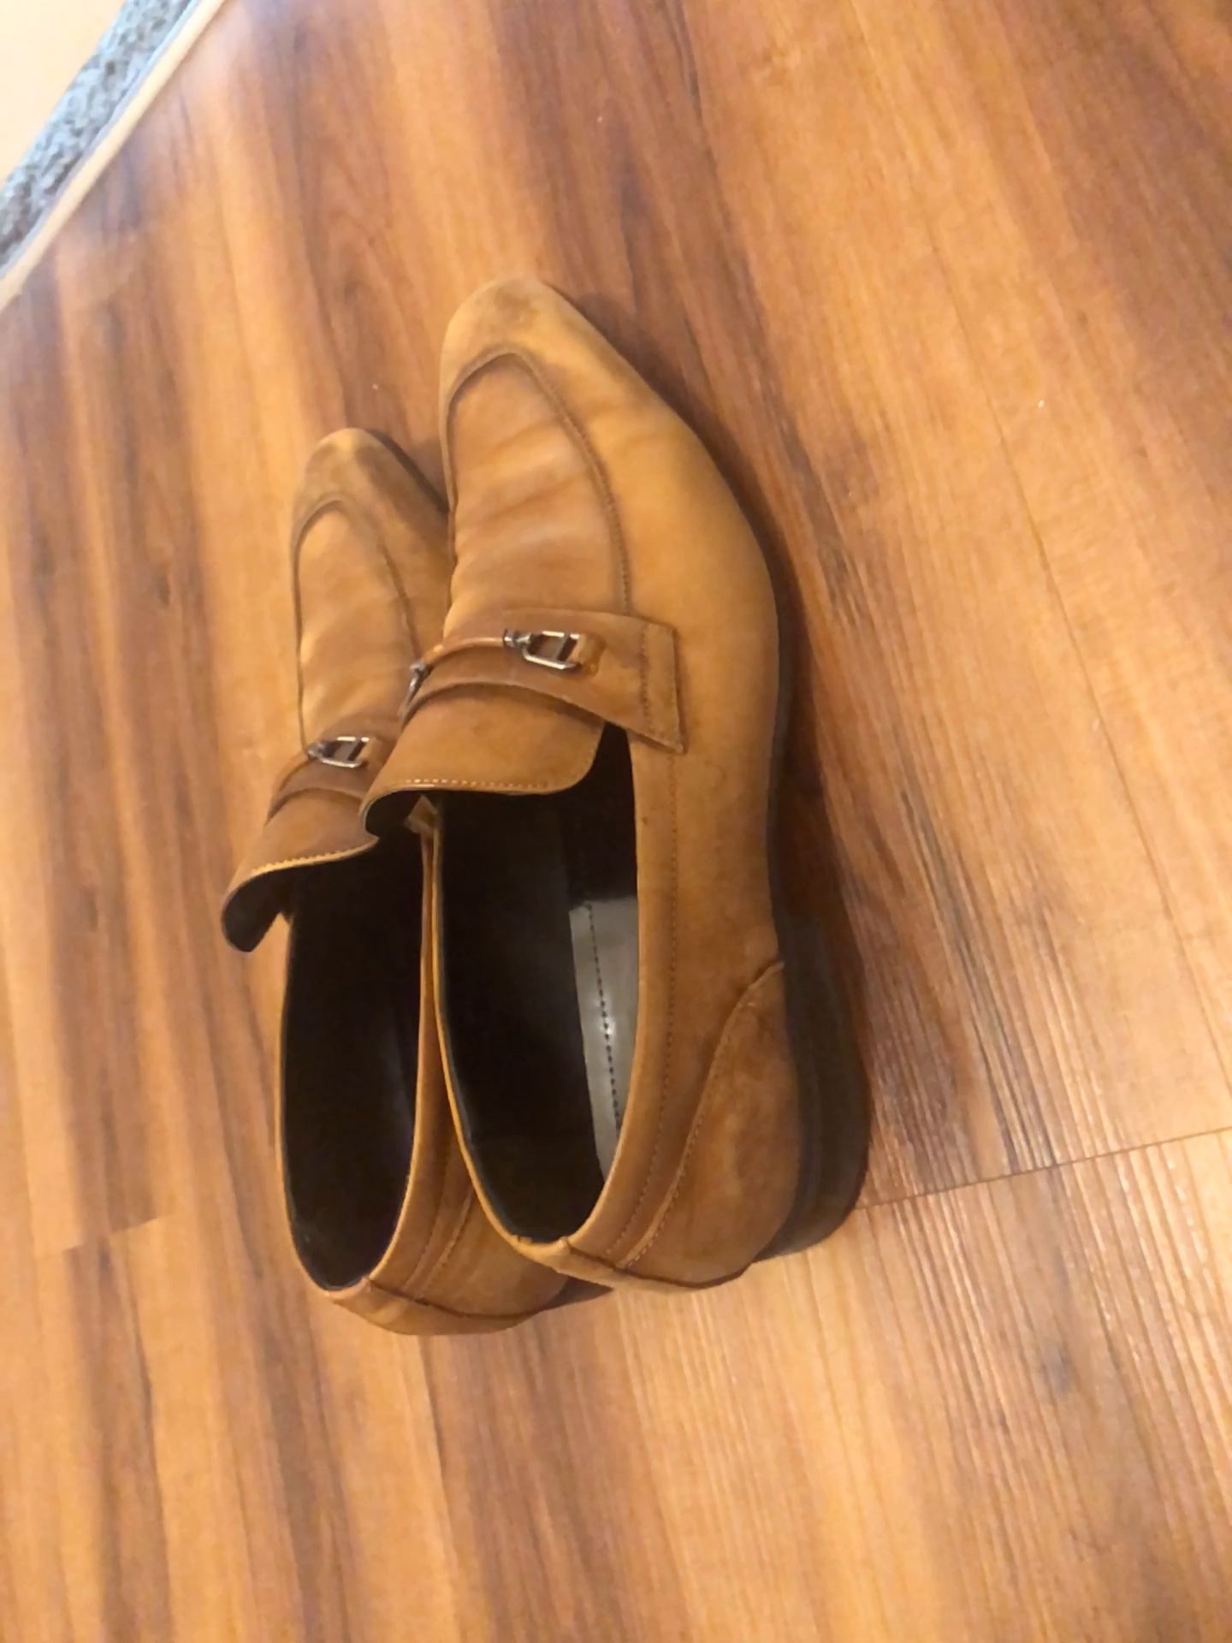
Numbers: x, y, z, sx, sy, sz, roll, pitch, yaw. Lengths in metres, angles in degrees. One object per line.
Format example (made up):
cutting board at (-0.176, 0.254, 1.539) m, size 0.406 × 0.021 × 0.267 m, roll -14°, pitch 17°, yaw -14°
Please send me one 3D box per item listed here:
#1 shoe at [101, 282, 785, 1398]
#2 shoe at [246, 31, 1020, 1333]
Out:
shoe at (-0.066, 0.002, 0.437) m, size 0.107 × 0.112 × 0.308 m, roll -31°, pitch 66°, yaw 38°
shoe at (-0.005, -0.035, 0.380) m, size 0.107 × 0.112 × 0.308 m, roll -26°, pitch 70°, yaw 40°
